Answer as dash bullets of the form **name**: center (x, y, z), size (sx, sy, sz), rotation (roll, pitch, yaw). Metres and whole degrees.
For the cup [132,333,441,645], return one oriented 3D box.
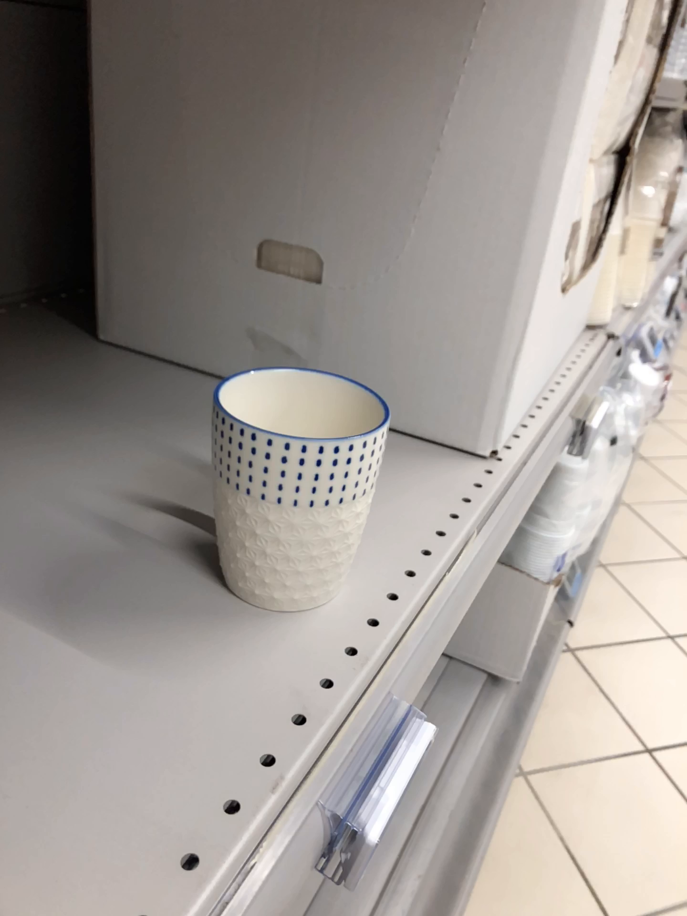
- **cup**: center (-0.035, 0.006, 0.388), size (0.097, 0.096, 0.119), rotation (-15, 35, -38)
